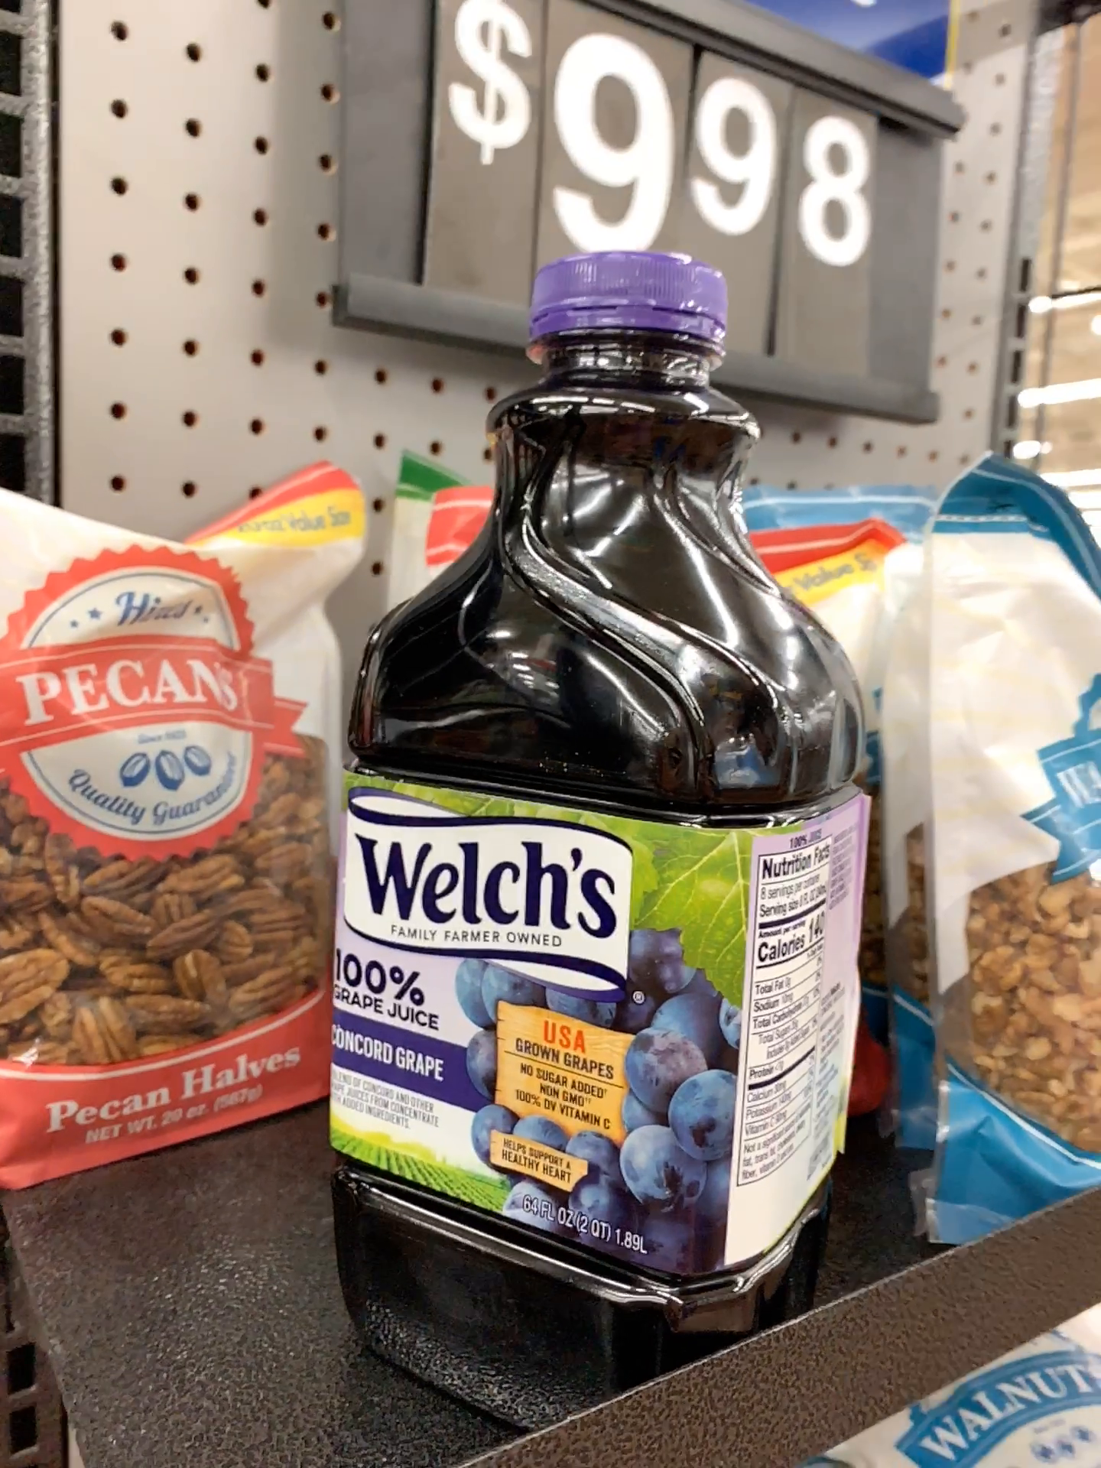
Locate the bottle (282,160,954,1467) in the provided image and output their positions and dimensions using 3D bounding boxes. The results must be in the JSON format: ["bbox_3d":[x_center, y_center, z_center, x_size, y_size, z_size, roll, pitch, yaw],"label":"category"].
[{"bbox_3d":[0.016,0.021,0.283,0.120,0.260,0.100,6,7,32],"label":"bottle"}]
